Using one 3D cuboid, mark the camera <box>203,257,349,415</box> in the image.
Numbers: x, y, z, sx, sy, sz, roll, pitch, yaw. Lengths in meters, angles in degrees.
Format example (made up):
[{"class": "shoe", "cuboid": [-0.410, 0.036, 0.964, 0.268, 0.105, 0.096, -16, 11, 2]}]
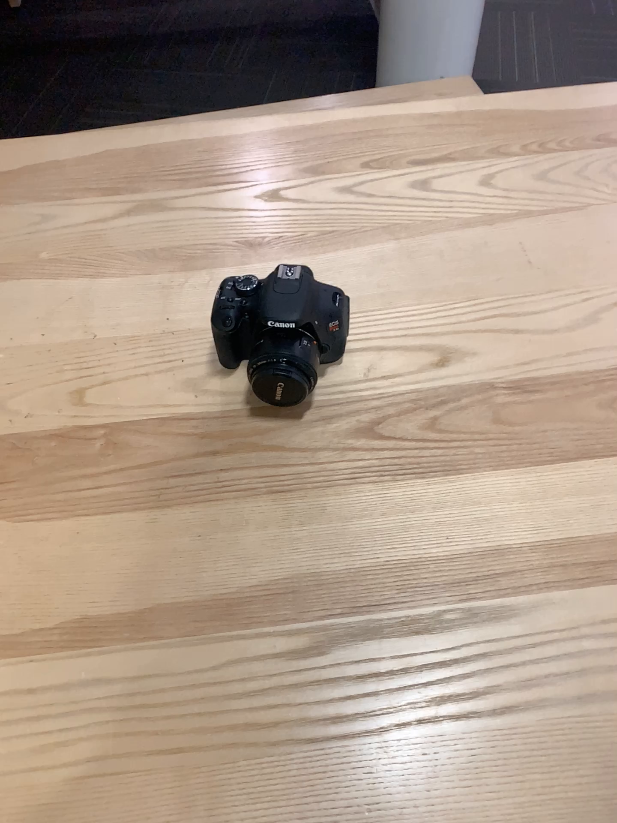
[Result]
[{"class": "camera", "cuboid": [-0.025, -0.074, 0.619, 0.123, 0.094, 0.116, 3, 54, 4]}]
